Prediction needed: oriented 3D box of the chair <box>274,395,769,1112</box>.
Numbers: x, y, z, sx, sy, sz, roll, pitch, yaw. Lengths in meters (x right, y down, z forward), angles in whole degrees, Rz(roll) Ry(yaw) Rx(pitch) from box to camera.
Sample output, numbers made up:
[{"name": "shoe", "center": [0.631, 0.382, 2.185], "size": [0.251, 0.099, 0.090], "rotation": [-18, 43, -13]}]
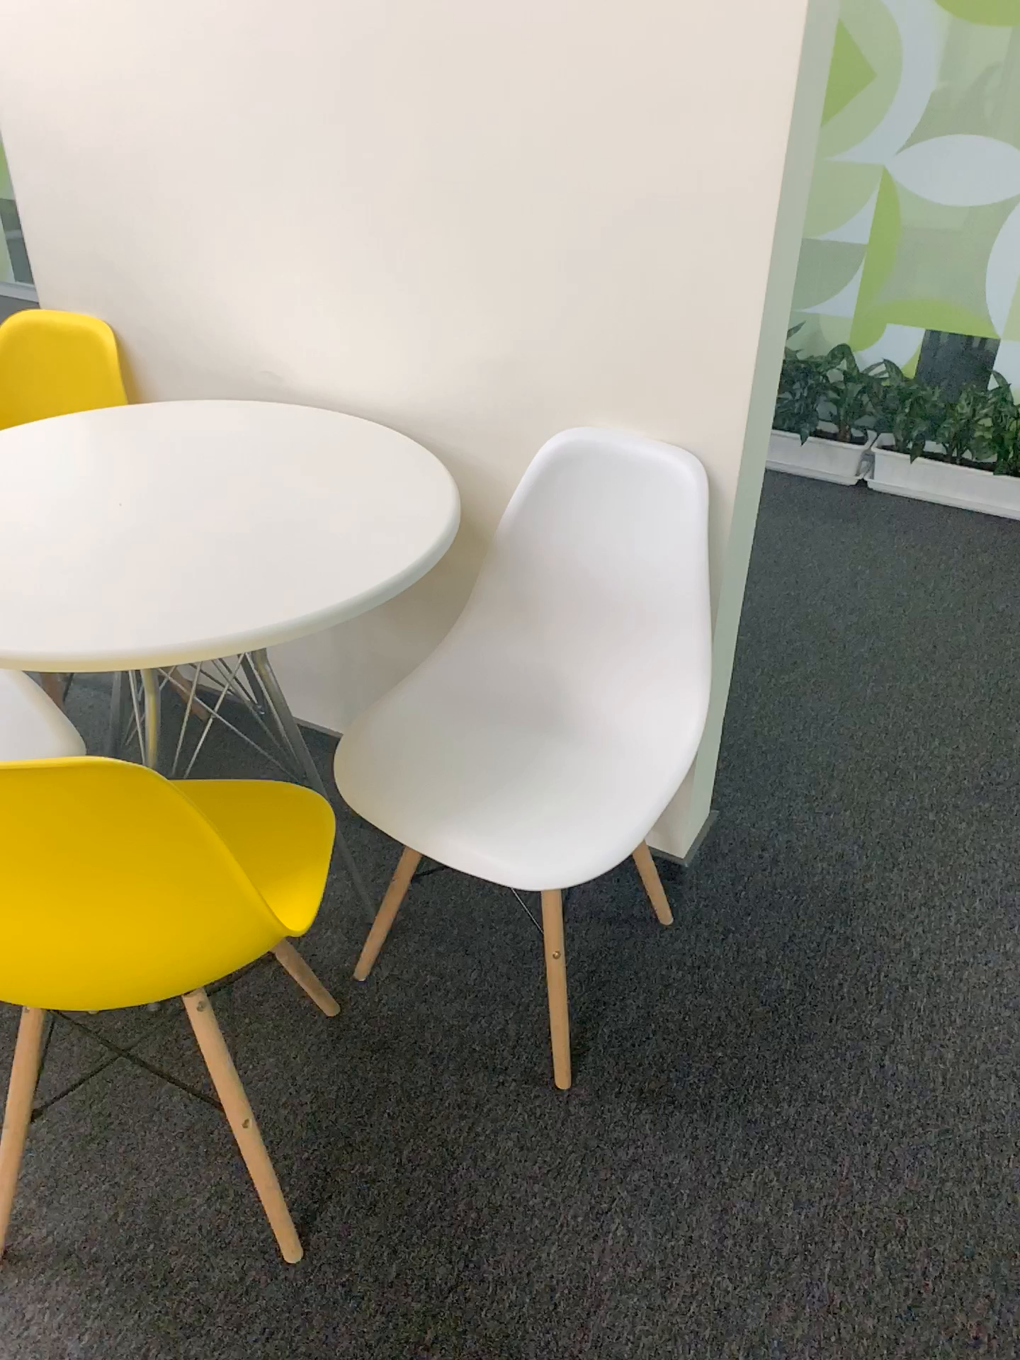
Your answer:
[{"name": "chair", "center": [0.021, 0.104, 1.571], "size": [0.480, 0.875, 0.442], "rotation": [18, 37, 24]}]
